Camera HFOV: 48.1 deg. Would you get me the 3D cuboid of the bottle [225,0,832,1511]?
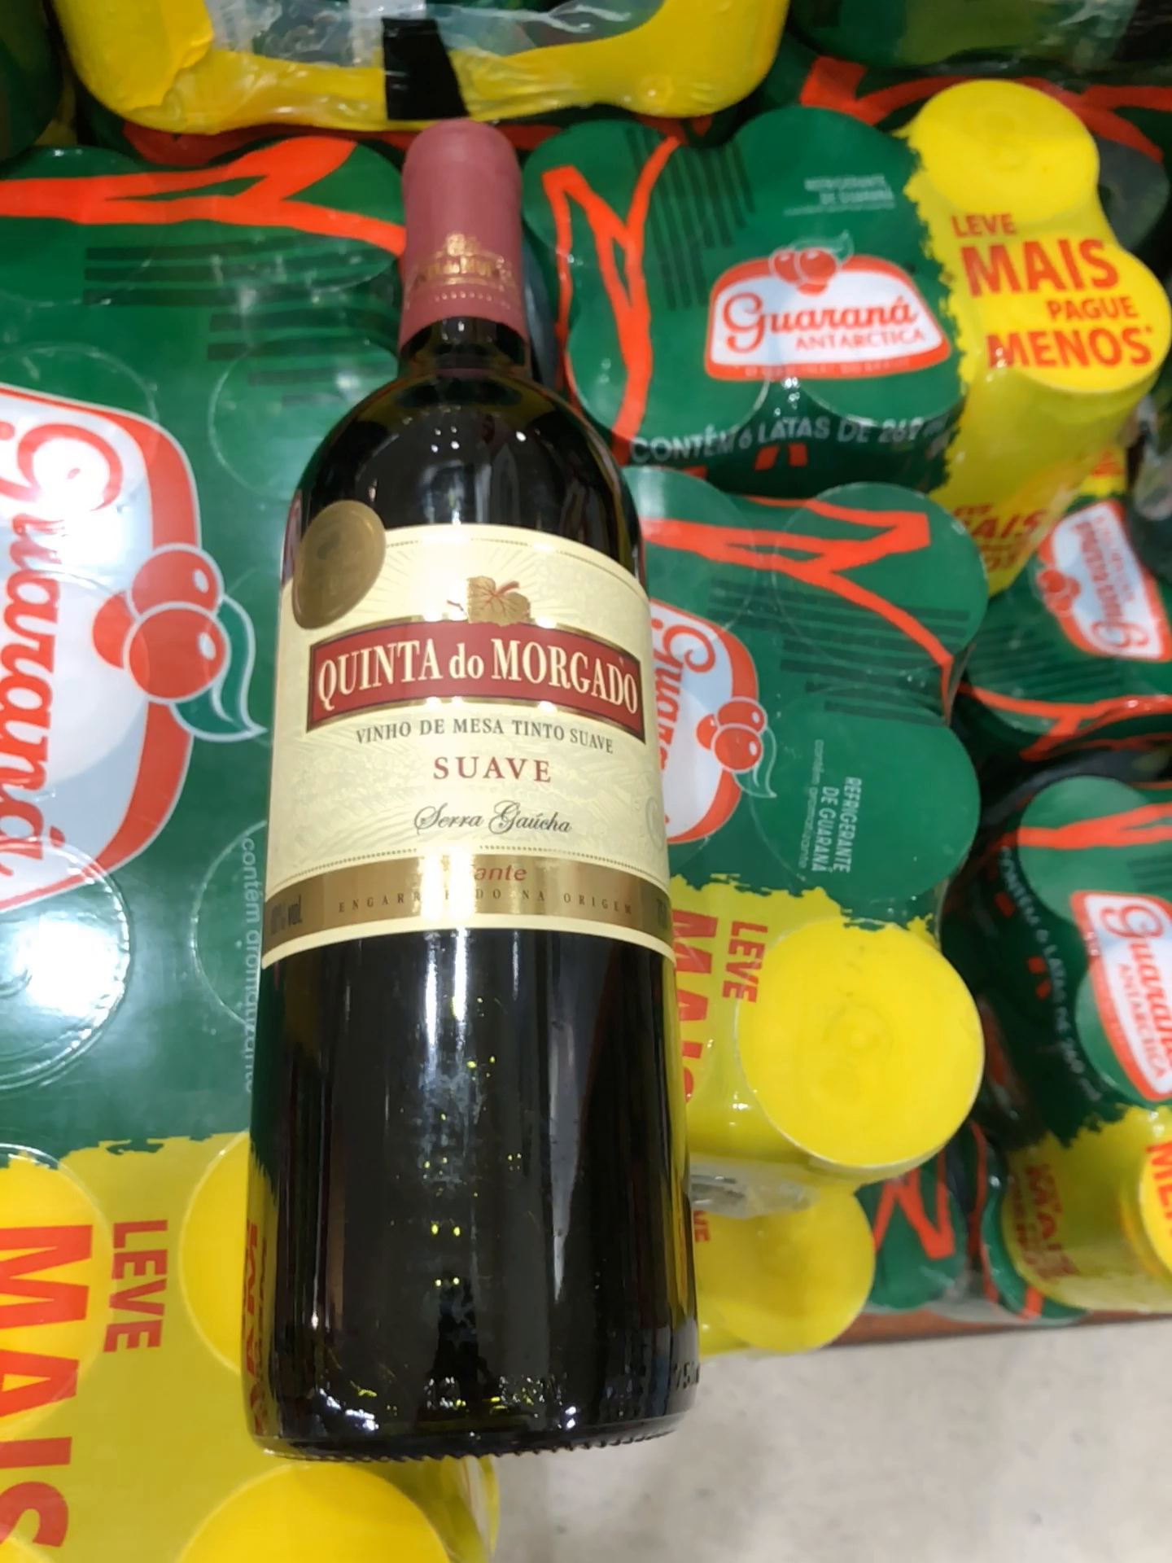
[{"bbox_3d":[-0.019,-0.020,0.258,0.080,0.070,0.271,5,70,-22],"label":"bottle"}]
